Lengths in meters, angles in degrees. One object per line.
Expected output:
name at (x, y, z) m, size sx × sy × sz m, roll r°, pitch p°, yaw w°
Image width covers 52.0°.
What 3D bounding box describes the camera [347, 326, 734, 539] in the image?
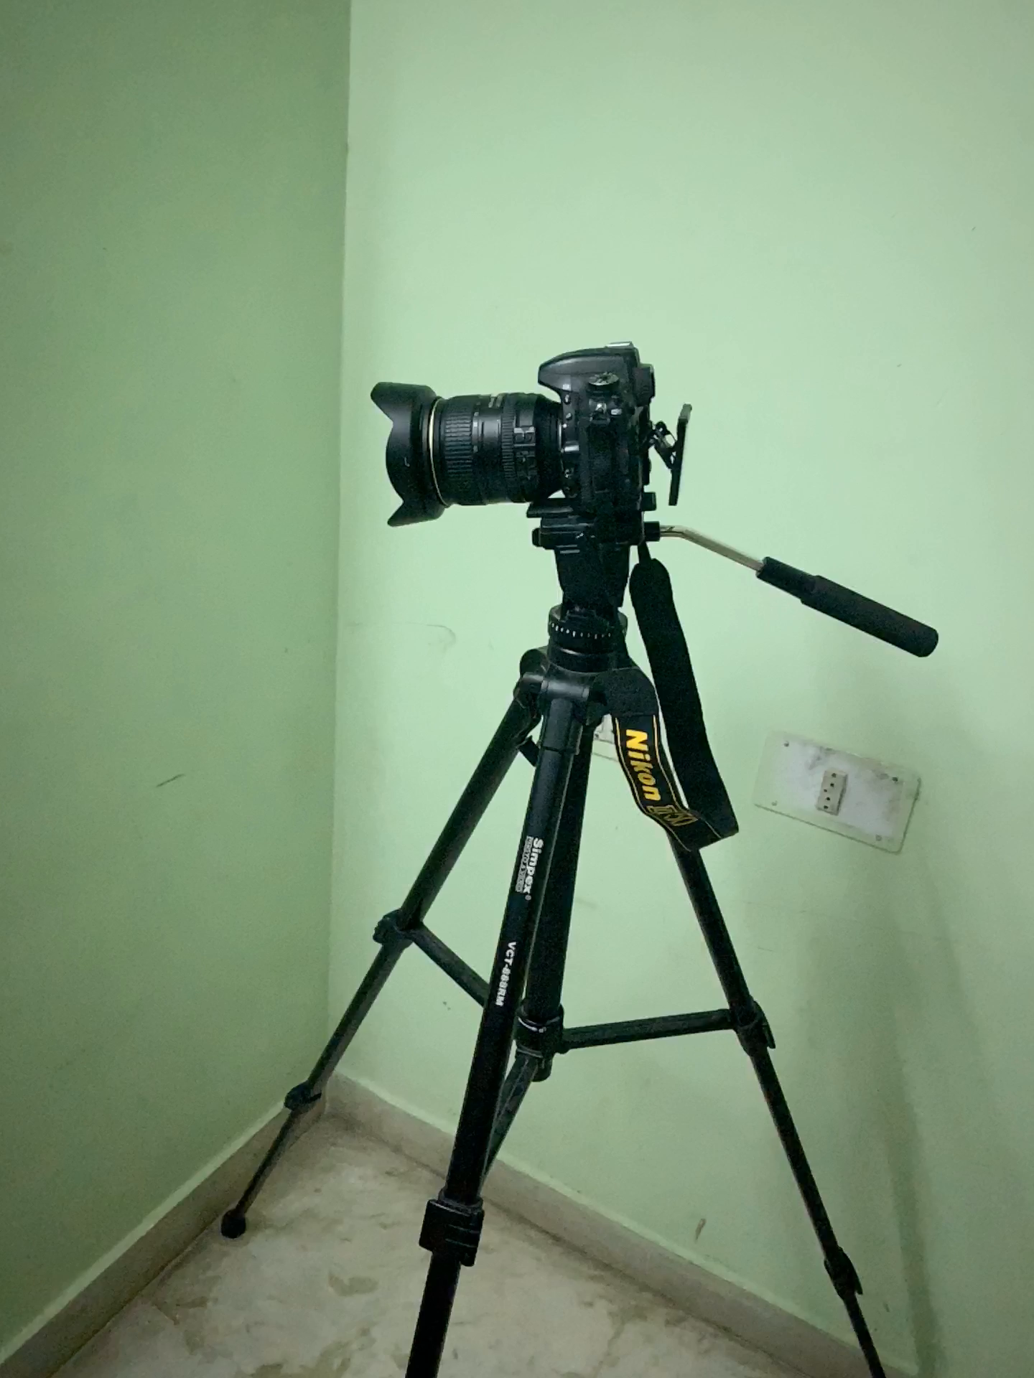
camera at (0.024, -0.204, 0.825) m, size 0.266 × 0.127 × 0.161 m, roll -2°, pitch 21°, yaw 5°
